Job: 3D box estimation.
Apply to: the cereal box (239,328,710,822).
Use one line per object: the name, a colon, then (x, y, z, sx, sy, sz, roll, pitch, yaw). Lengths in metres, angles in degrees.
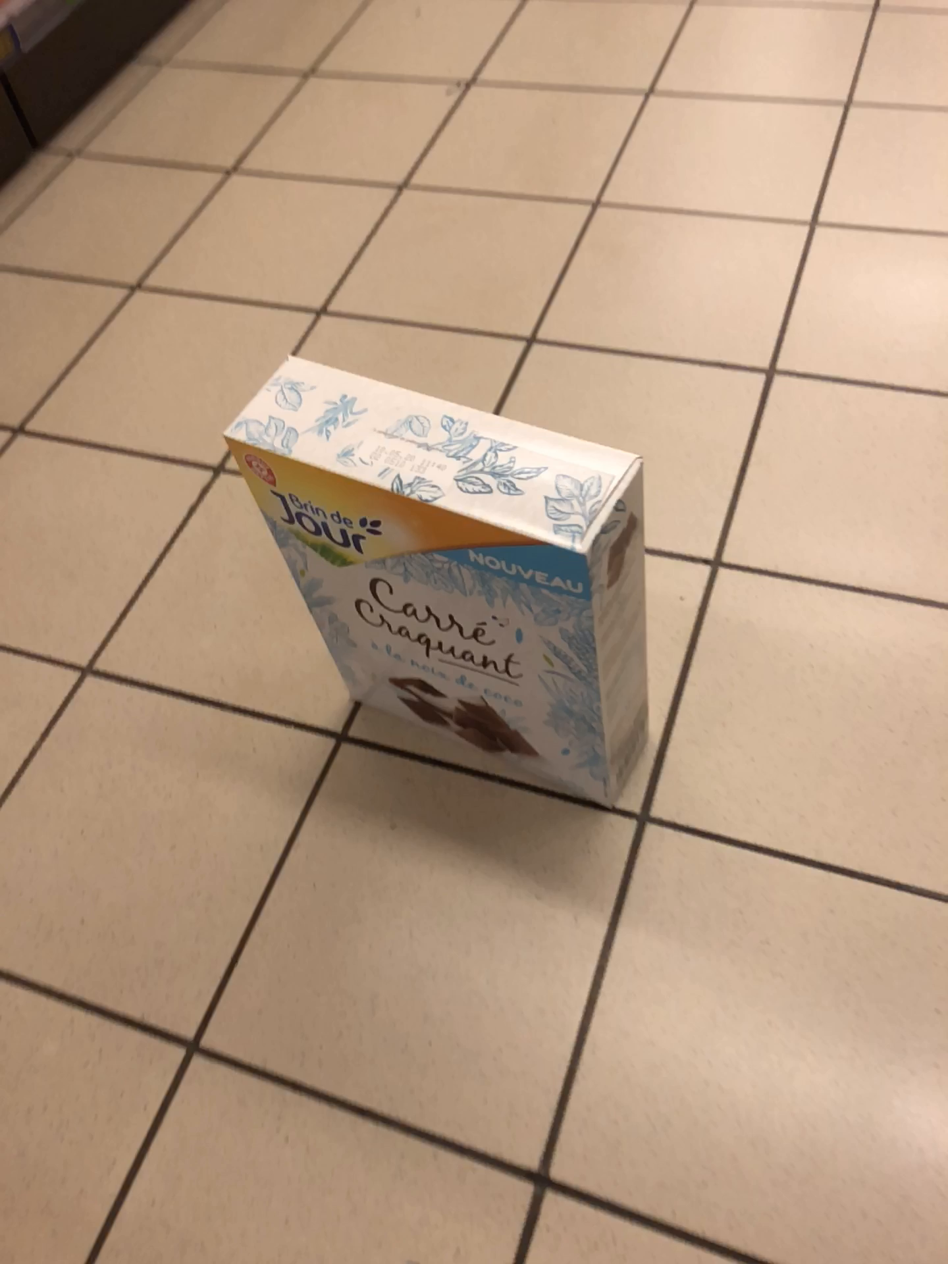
cereal box: (0.009, -0.020, 0.554, 0.200, 0.239, 0.070, 22, 61, 21)
